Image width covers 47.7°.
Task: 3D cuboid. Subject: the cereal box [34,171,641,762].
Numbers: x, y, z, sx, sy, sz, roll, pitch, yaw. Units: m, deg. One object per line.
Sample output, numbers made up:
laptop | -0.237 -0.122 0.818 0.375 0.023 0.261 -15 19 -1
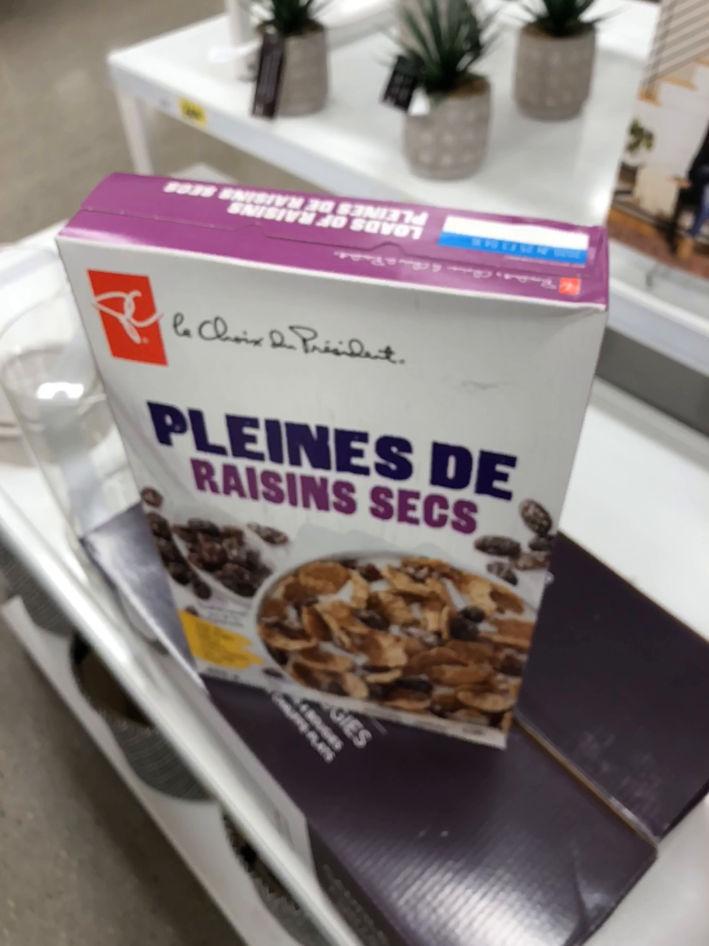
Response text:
cereal box | -0.002 0.022 0.385 0.200 0.299 0.060 11 49 12
